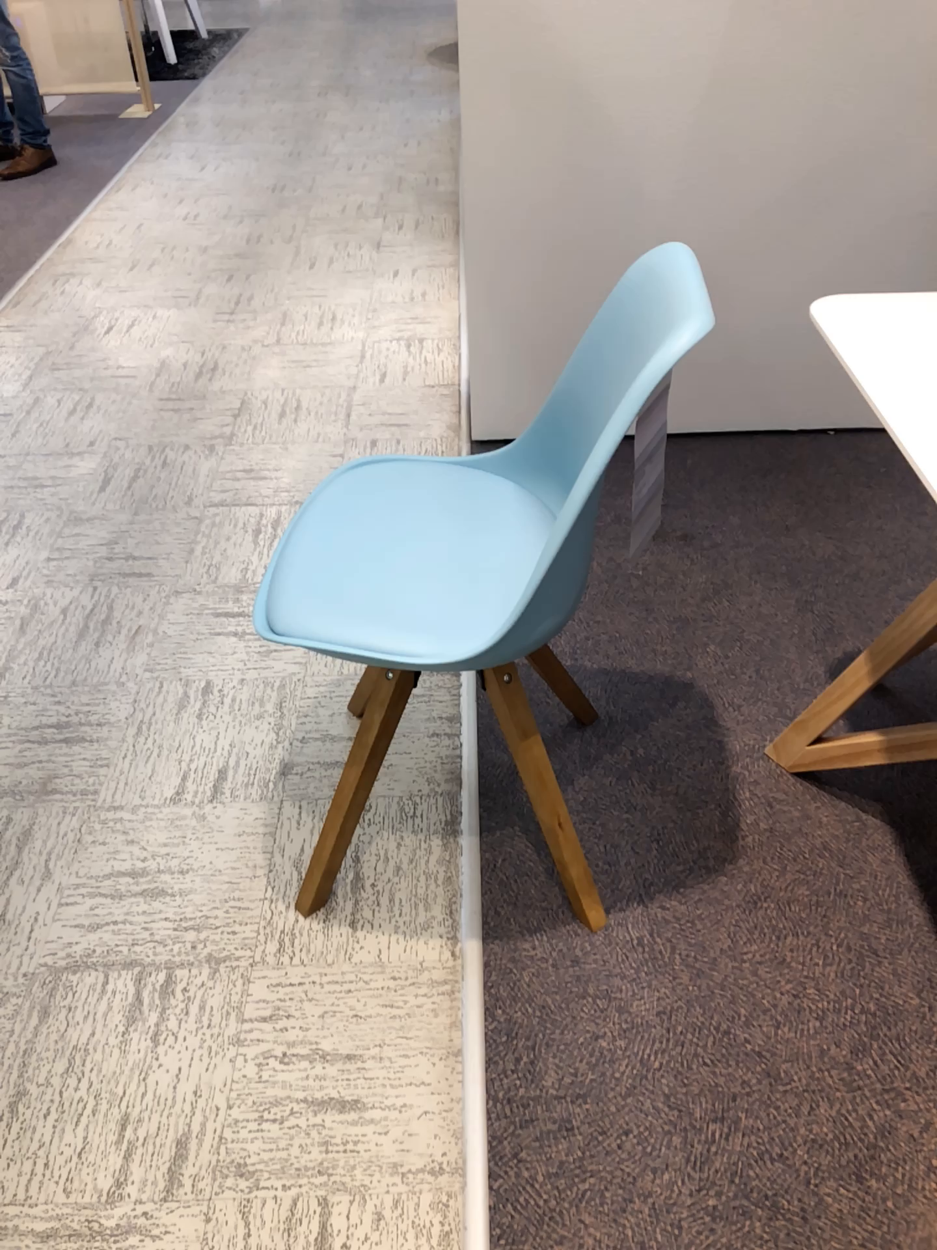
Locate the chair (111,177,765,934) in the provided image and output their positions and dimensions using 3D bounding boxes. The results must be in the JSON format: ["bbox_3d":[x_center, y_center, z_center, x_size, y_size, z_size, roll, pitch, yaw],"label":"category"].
[{"bbox_3d":[0.001,-0.080,1.326,0.560,0.795,0.543,0,38,4],"label":"chair"}]
